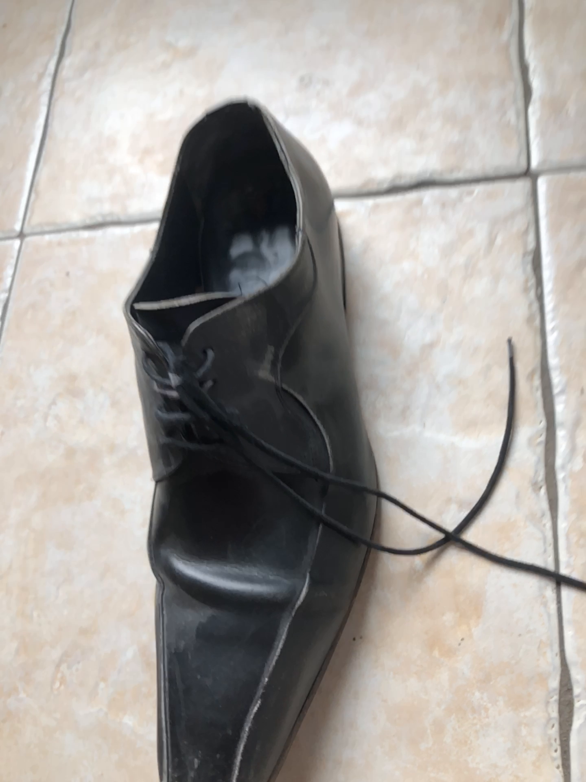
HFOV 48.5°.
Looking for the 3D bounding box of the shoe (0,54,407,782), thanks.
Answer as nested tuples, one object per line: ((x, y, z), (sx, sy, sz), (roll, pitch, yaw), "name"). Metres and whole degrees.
((-0.018, 0.019, 0.271), (0.100, 0.090, 0.290), (1, 72, 19), "shoe")
